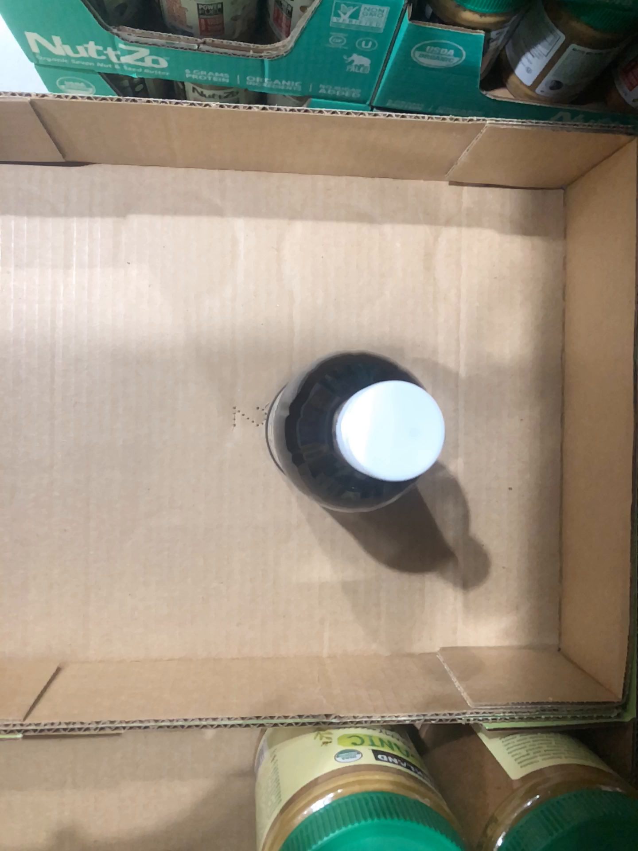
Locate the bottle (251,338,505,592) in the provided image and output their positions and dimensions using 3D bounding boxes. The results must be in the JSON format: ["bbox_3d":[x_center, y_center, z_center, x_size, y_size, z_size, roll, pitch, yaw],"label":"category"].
[{"bbox_3d":[0.009,0.014,0.311,0.070,0.200,0.070,0,89,-6],"label":"bottle"}]
